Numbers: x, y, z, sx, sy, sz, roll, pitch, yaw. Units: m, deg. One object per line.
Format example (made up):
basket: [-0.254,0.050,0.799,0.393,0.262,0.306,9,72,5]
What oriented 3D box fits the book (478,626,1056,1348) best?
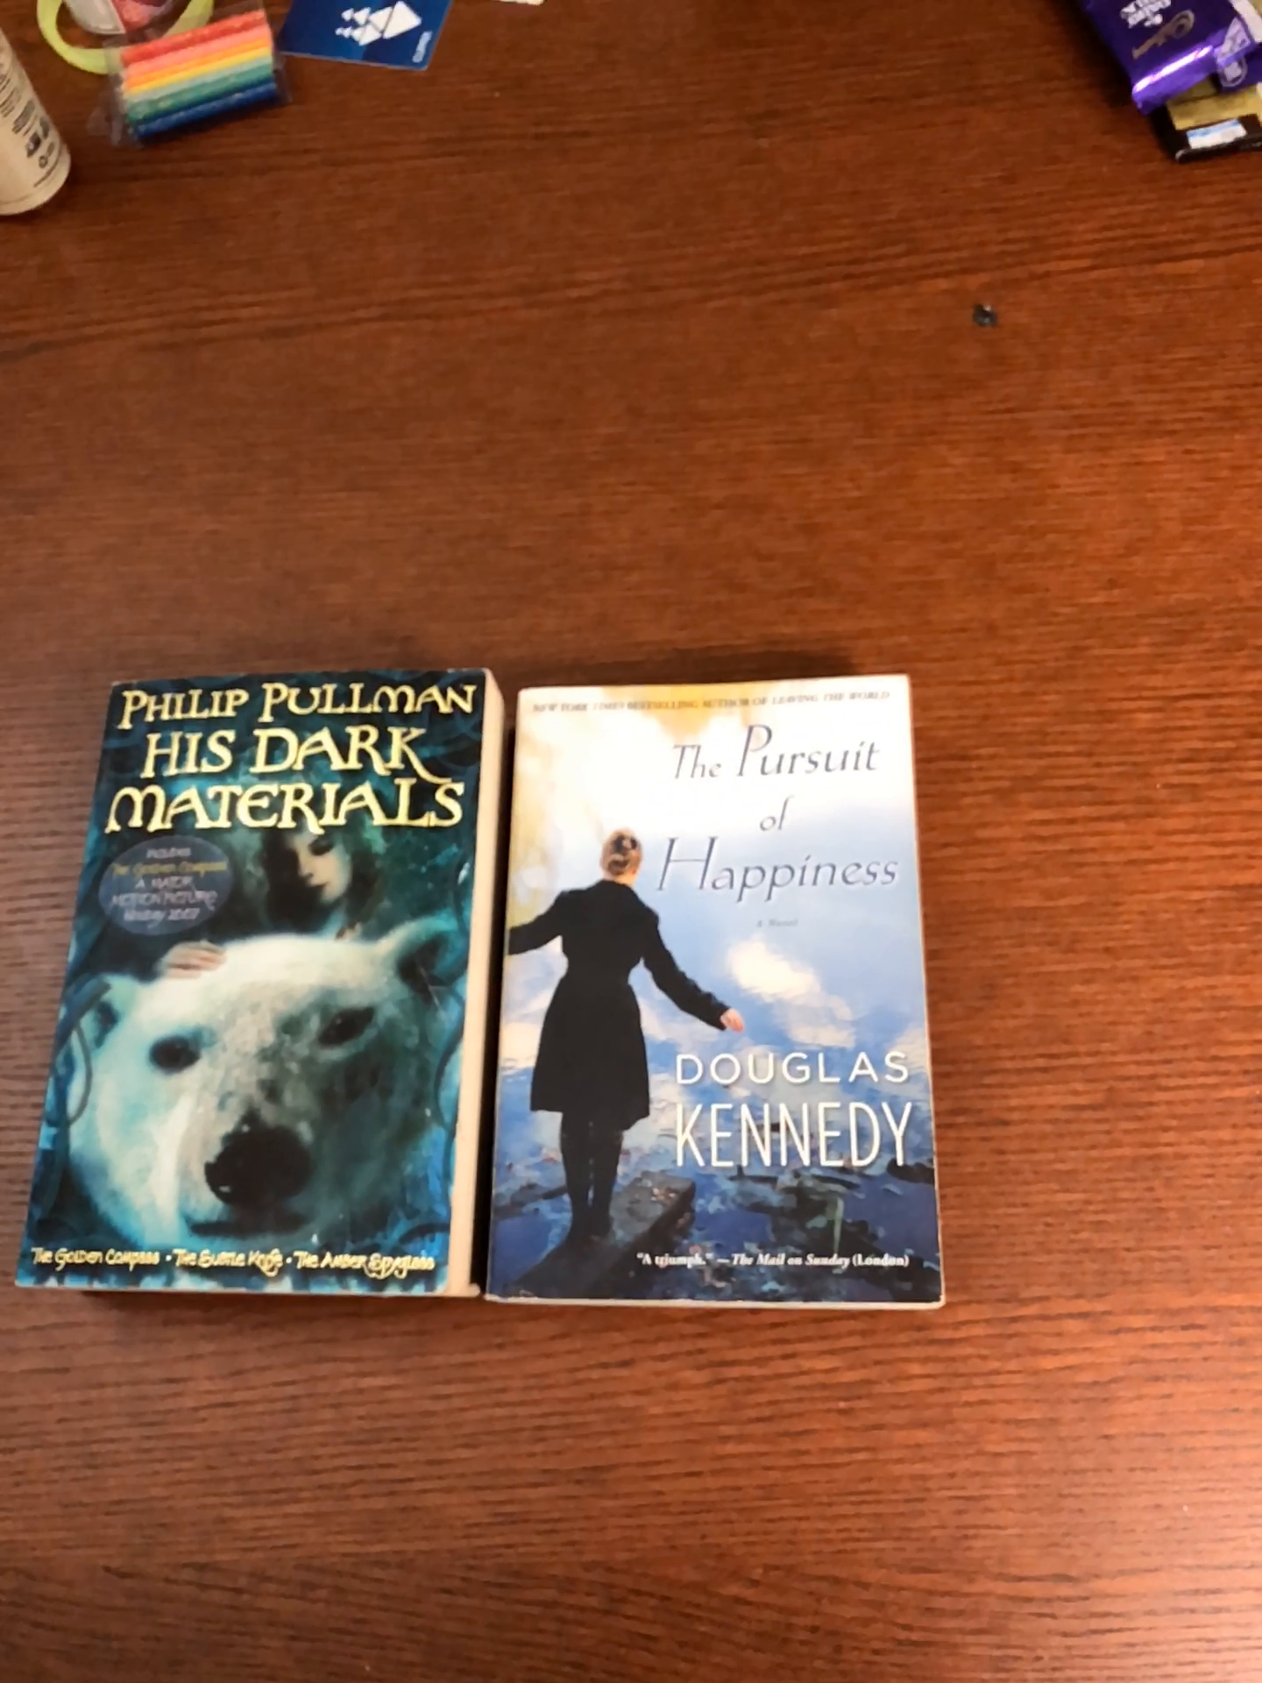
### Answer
book: [0.044,0.046,0.500,0.180,0.040,0.250,-1,69,5]

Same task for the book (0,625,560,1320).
book: [-0.123,0.045,0.523,0.180,0.050,0.250,-1,70,5]
